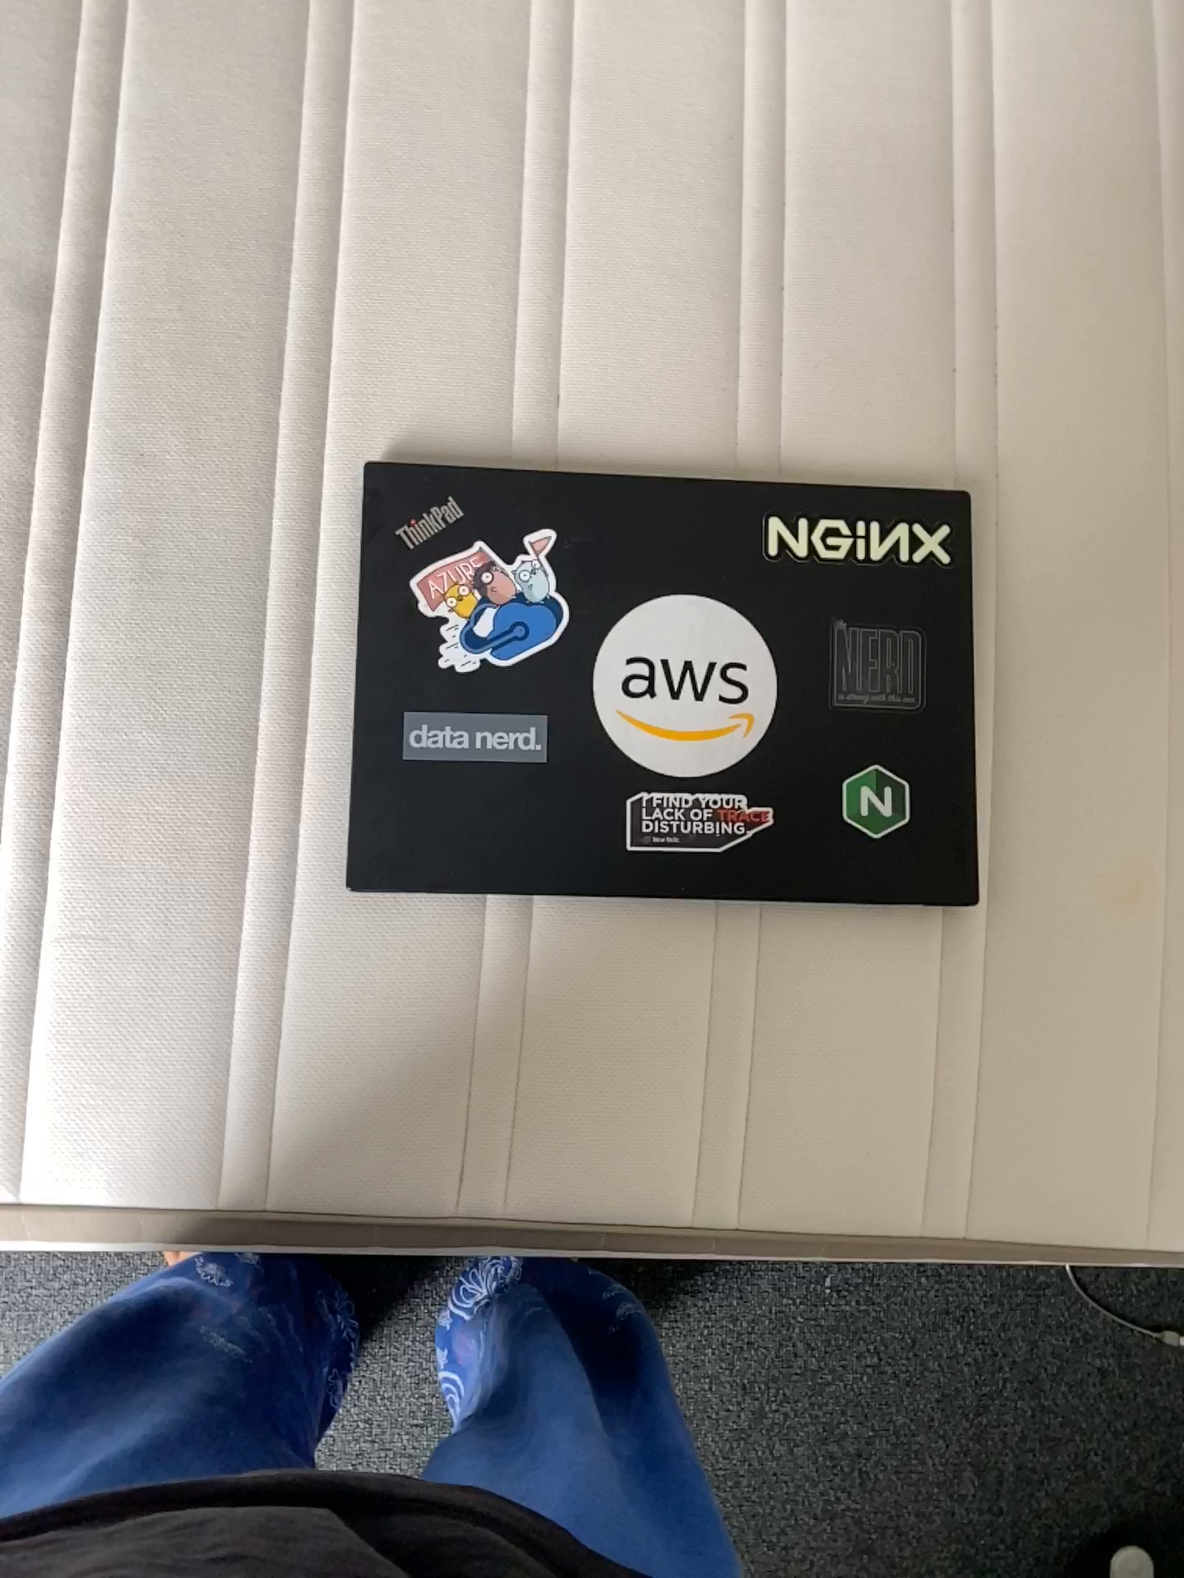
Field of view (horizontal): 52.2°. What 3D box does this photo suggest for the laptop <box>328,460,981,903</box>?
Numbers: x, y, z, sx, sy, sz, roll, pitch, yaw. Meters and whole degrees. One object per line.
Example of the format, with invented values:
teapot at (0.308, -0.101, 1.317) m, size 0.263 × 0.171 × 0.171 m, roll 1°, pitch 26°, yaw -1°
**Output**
laptop at (0.038, -0.056, 0.621) m, size 0.322 × 0.014 × 0.224 m, roll 2°, pitch 79°, yaw -3°
